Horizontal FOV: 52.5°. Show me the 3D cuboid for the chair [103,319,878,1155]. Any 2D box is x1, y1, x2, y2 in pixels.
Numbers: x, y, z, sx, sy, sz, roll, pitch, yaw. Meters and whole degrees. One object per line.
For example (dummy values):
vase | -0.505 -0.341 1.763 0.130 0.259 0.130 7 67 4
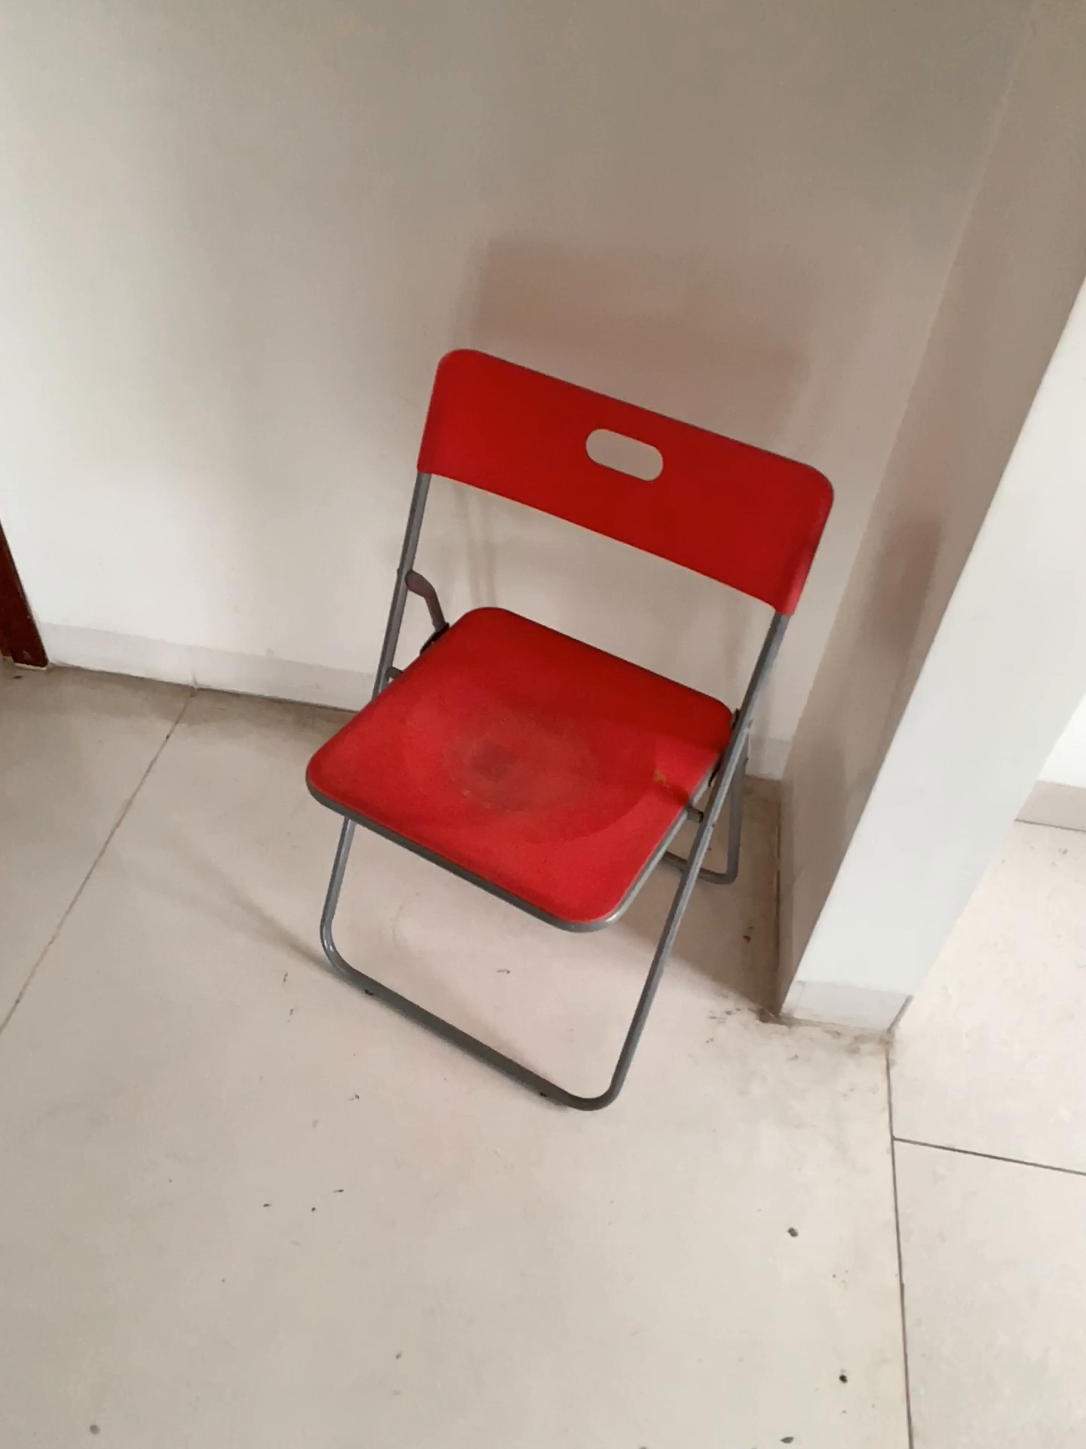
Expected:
chair | -0.040 0.005 1.229 0.530 0.608 0.501 24 49 18
